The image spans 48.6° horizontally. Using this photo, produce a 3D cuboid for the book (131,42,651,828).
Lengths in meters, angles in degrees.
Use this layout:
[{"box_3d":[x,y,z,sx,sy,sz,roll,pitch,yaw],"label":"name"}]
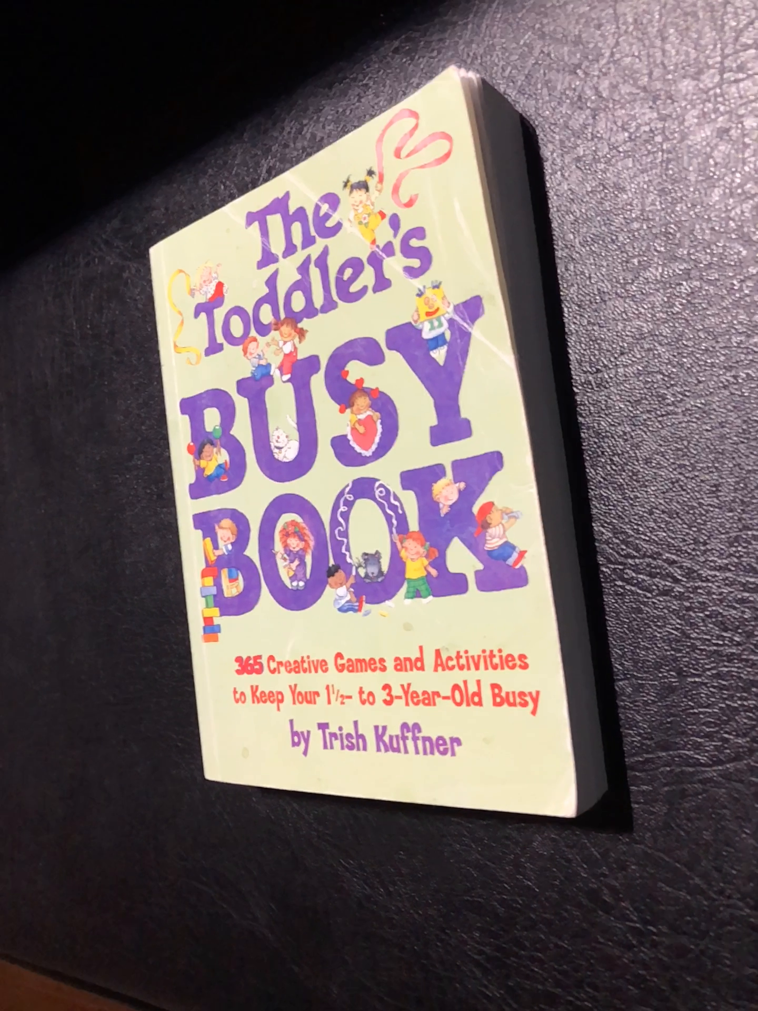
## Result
[{"box_3d":[-0.008,-0.009,0.240,0.136,0.033,0.176,-10,85,38],"label":"book"}]
